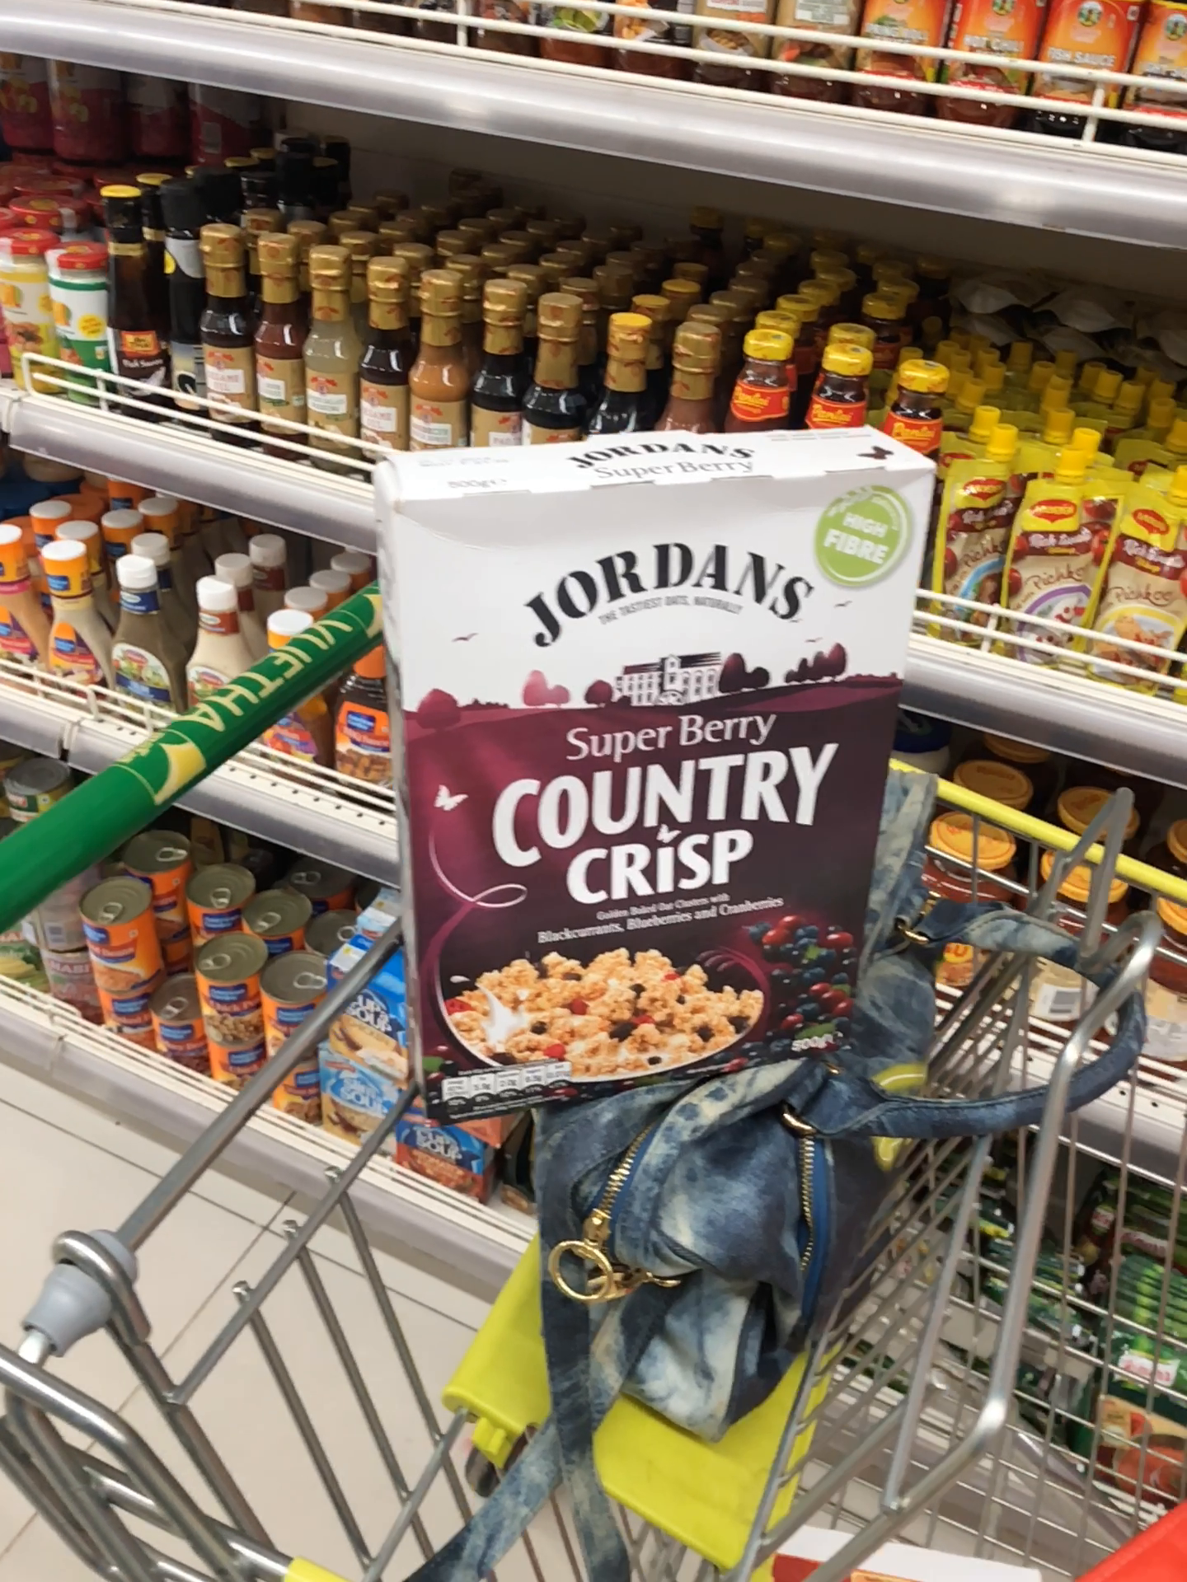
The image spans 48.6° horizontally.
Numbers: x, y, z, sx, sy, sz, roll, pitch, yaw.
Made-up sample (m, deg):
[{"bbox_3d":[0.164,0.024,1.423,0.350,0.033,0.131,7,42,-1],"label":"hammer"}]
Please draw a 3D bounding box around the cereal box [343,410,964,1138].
[{"bbox_3d":[0.015,-0.004,0.447,0.180,0.229,0.050,-8,31,-19],"label":"cereal box"}]
